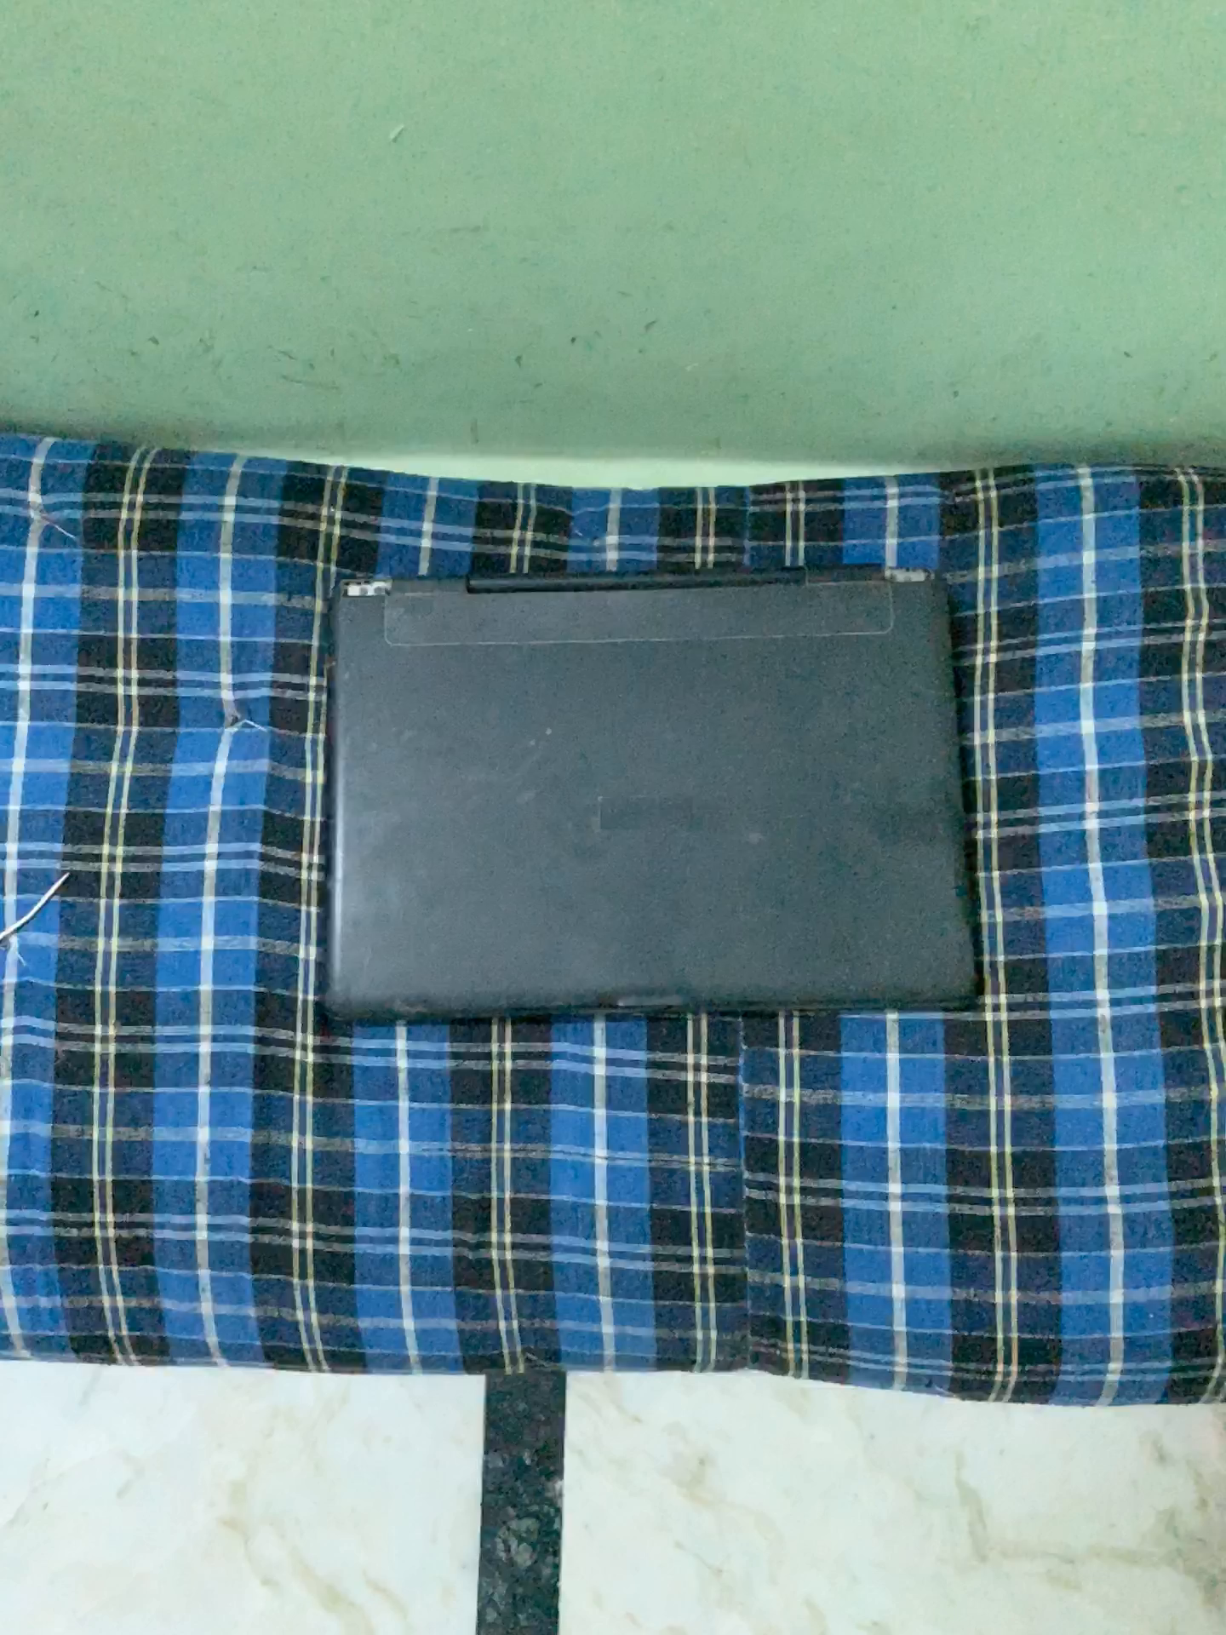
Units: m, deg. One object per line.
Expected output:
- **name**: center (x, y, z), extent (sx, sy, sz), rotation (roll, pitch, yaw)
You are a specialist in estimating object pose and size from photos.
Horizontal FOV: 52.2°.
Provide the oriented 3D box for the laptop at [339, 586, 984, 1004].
- **laptop**: center (0.023, -0.014, 0.646), extent (0.323, 0.005, 0.216), rotation (-1, 81, 0)
